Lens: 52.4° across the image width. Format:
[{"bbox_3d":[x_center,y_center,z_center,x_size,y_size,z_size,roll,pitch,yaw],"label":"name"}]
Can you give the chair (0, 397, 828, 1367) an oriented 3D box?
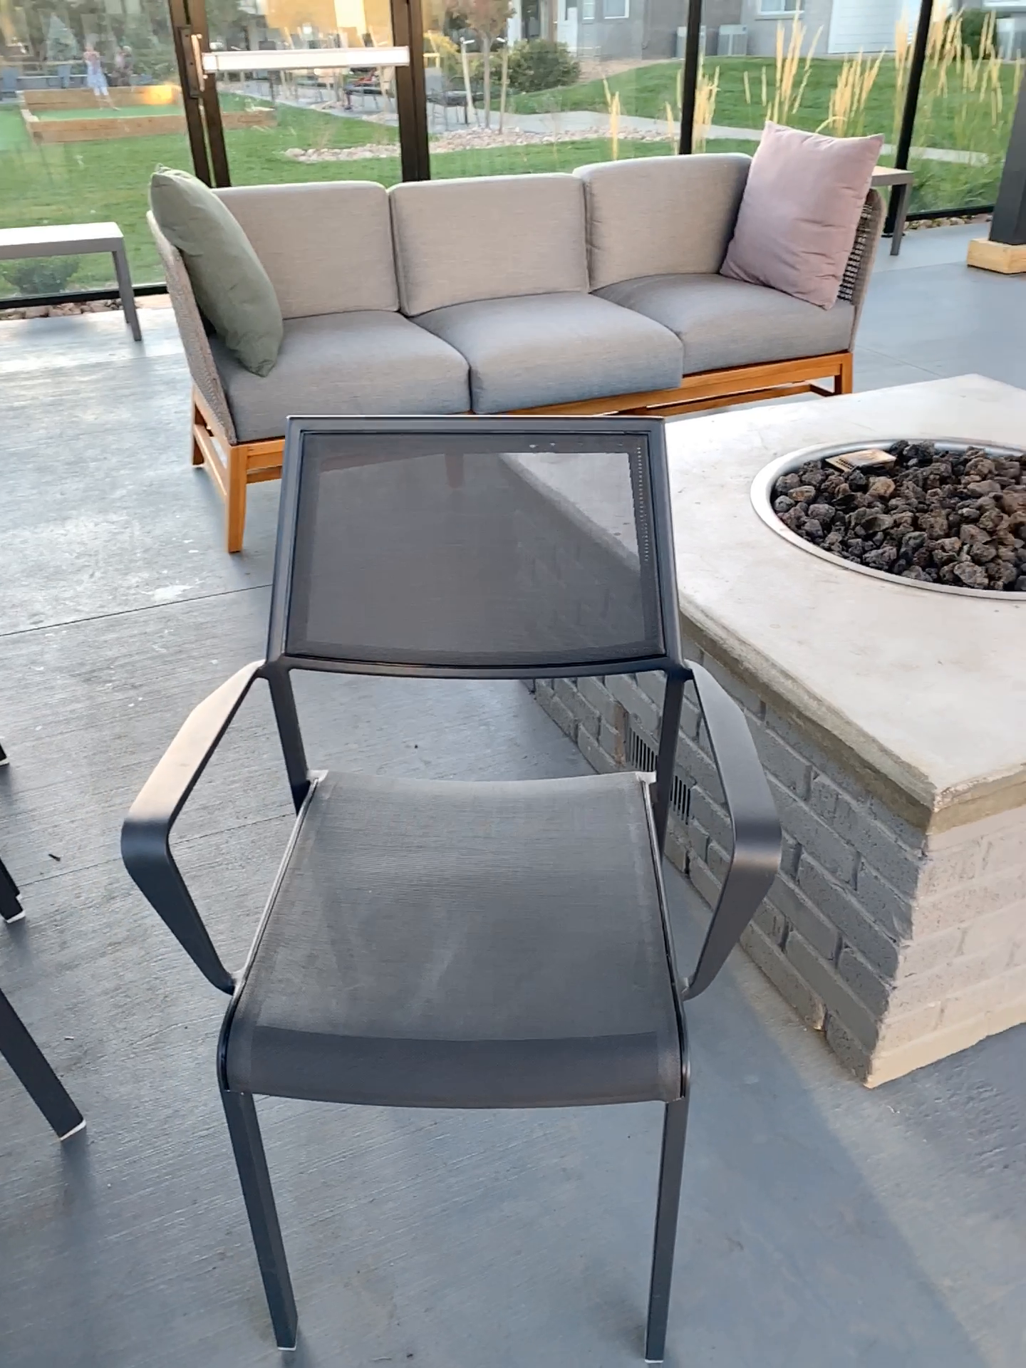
[{"bbox_3d":[-0.051,0.193,1.097,0.510,0.806,0.613,0,31,2],"label":"chair"}]
